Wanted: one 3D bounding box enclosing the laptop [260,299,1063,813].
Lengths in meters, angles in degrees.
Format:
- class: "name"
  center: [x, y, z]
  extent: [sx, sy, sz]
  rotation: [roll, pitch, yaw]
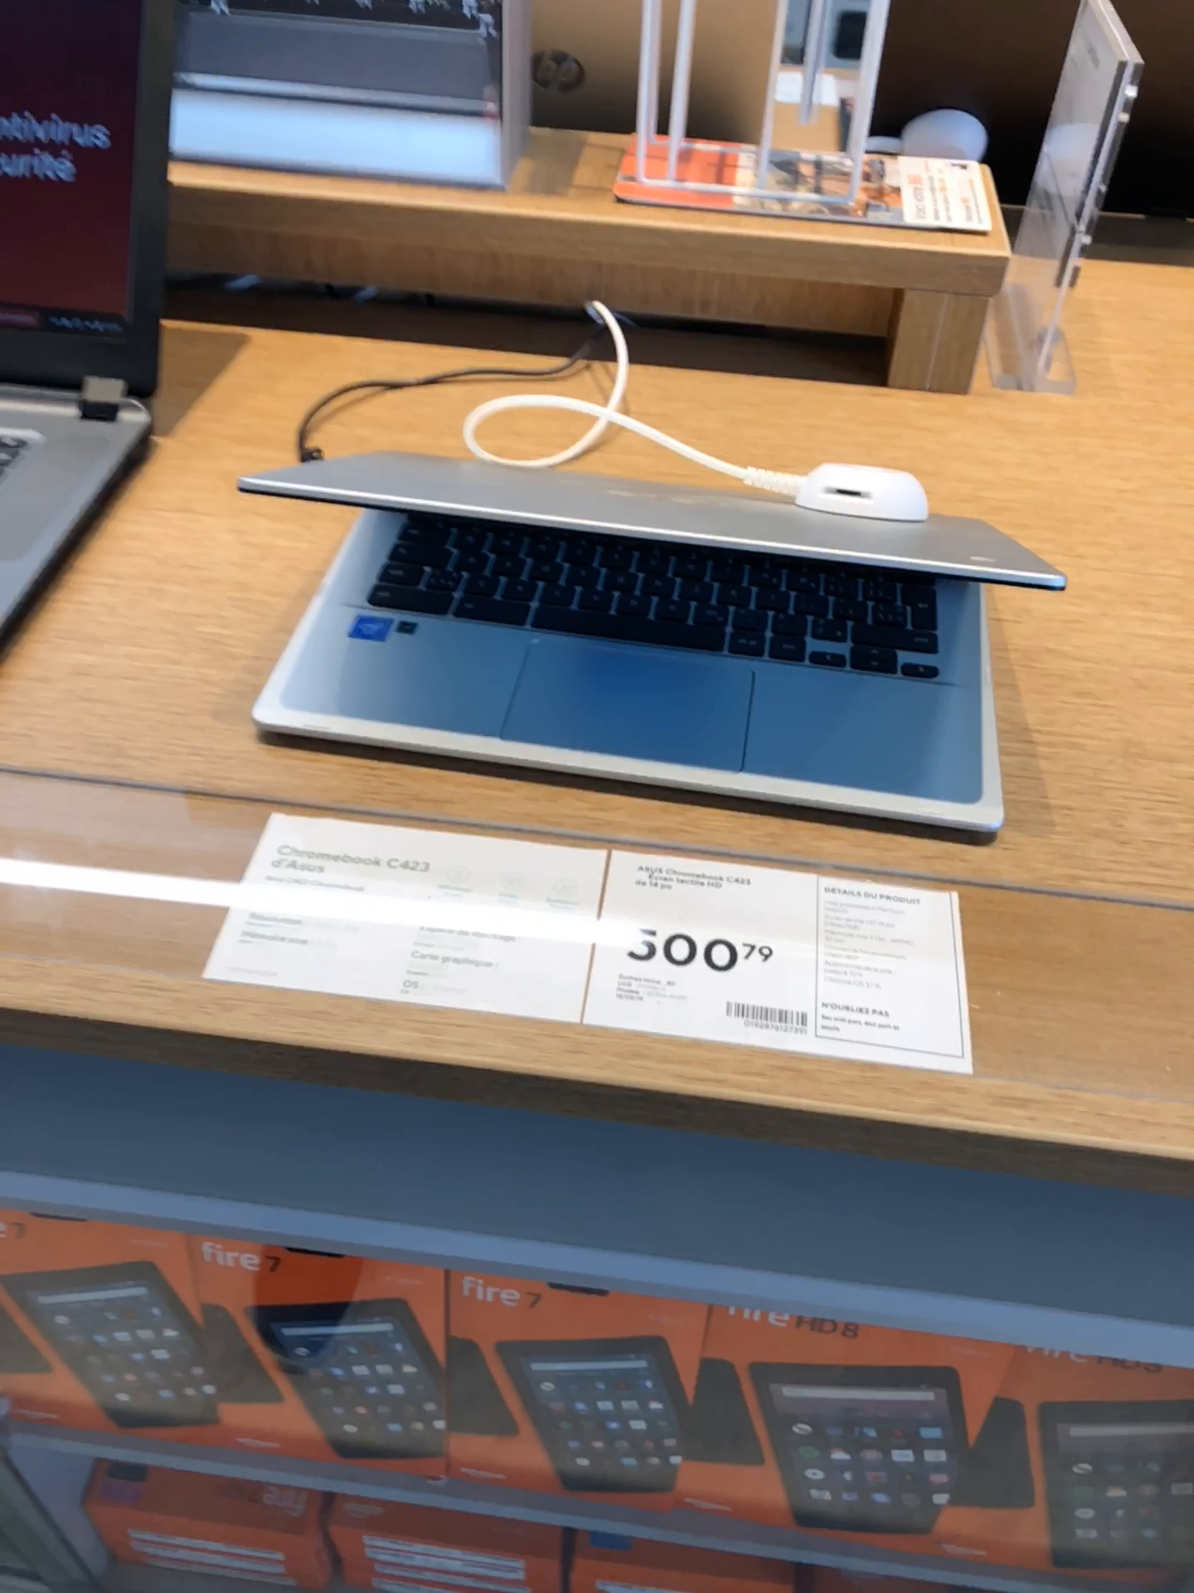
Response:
- class: "laptop"
  center: [0.037, -0.118, 0.591]
  extent: [0.304, 0.080, 0.206]
  rotation: [9, 46, 4]
